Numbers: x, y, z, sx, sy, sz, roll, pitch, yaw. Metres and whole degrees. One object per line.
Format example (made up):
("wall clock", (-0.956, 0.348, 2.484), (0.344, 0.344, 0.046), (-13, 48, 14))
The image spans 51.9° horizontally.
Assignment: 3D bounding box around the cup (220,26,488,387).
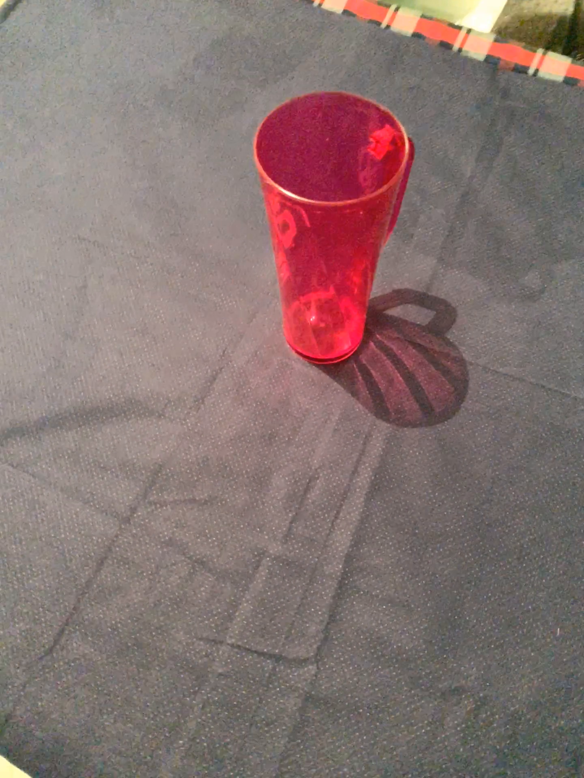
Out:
("cup", (0.031, -0.090, 0.349), (0.100, 0.170, 0.070), (-39, 70, -14))
